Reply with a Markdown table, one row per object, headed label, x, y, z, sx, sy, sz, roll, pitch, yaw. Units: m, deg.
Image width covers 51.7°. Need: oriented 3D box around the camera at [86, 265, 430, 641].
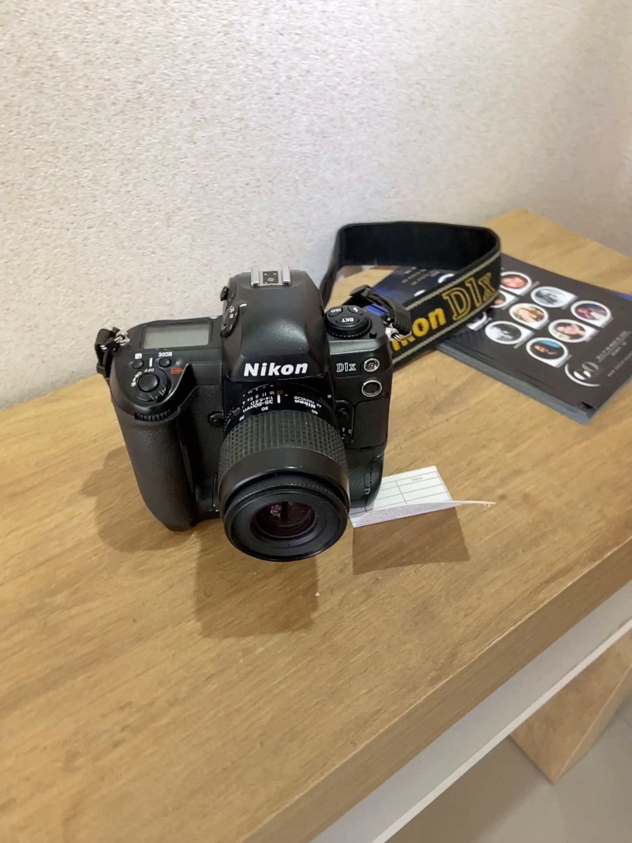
| label | x | y | z | sx | sy | sz | roll | pitch | yaw |
| --- | --- | --- | --- | --- | --- | --- | --- | --- | --- |
| camera | -0.032 | 0.013 | 0.386 | 0.150 | 0.129 | 0.161 | -7 | 43 | -4 |
